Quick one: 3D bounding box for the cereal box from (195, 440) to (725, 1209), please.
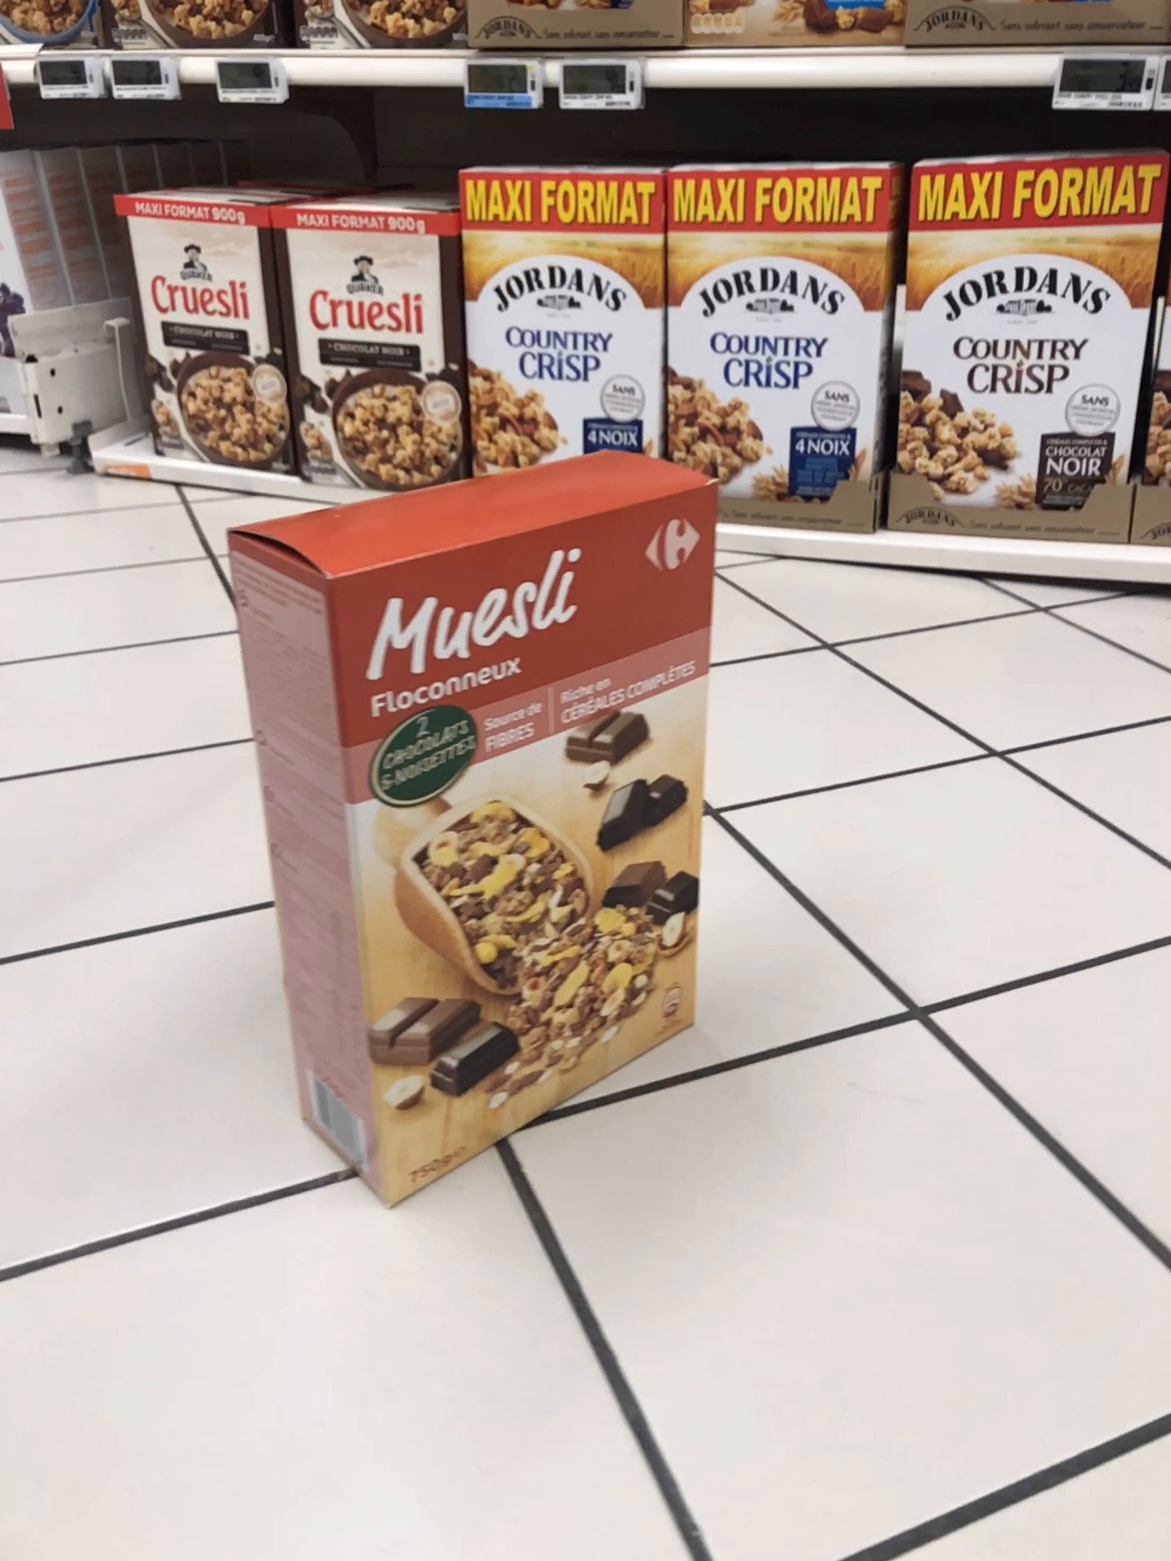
[{"bbox_3d":[-0.037,0.010,0.486,0.171,0.239,0.070,-22,34,-38],"label":"cereal box"}]
